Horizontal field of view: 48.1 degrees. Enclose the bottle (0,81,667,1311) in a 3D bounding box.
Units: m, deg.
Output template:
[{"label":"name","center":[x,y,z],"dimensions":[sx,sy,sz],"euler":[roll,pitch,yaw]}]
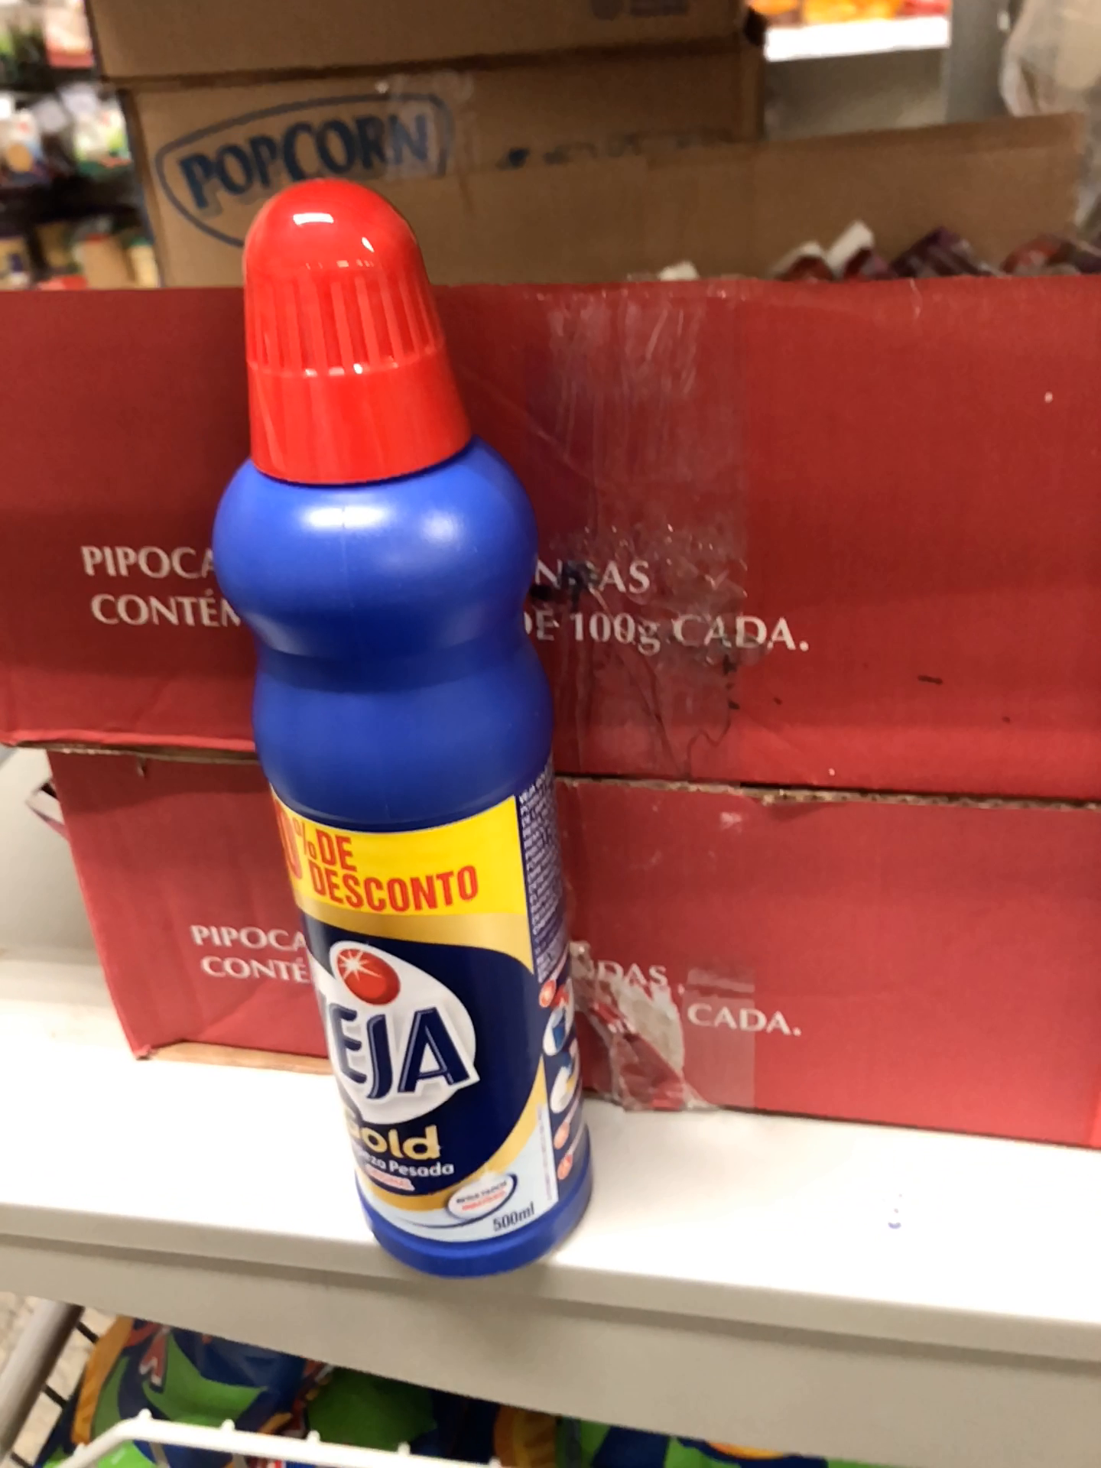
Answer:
[{"label":"bottle","center":[-0.030,0.006,0.265],"dimensions":[0.070,0.248,0.070],"euler":[-6,32,4]}]
